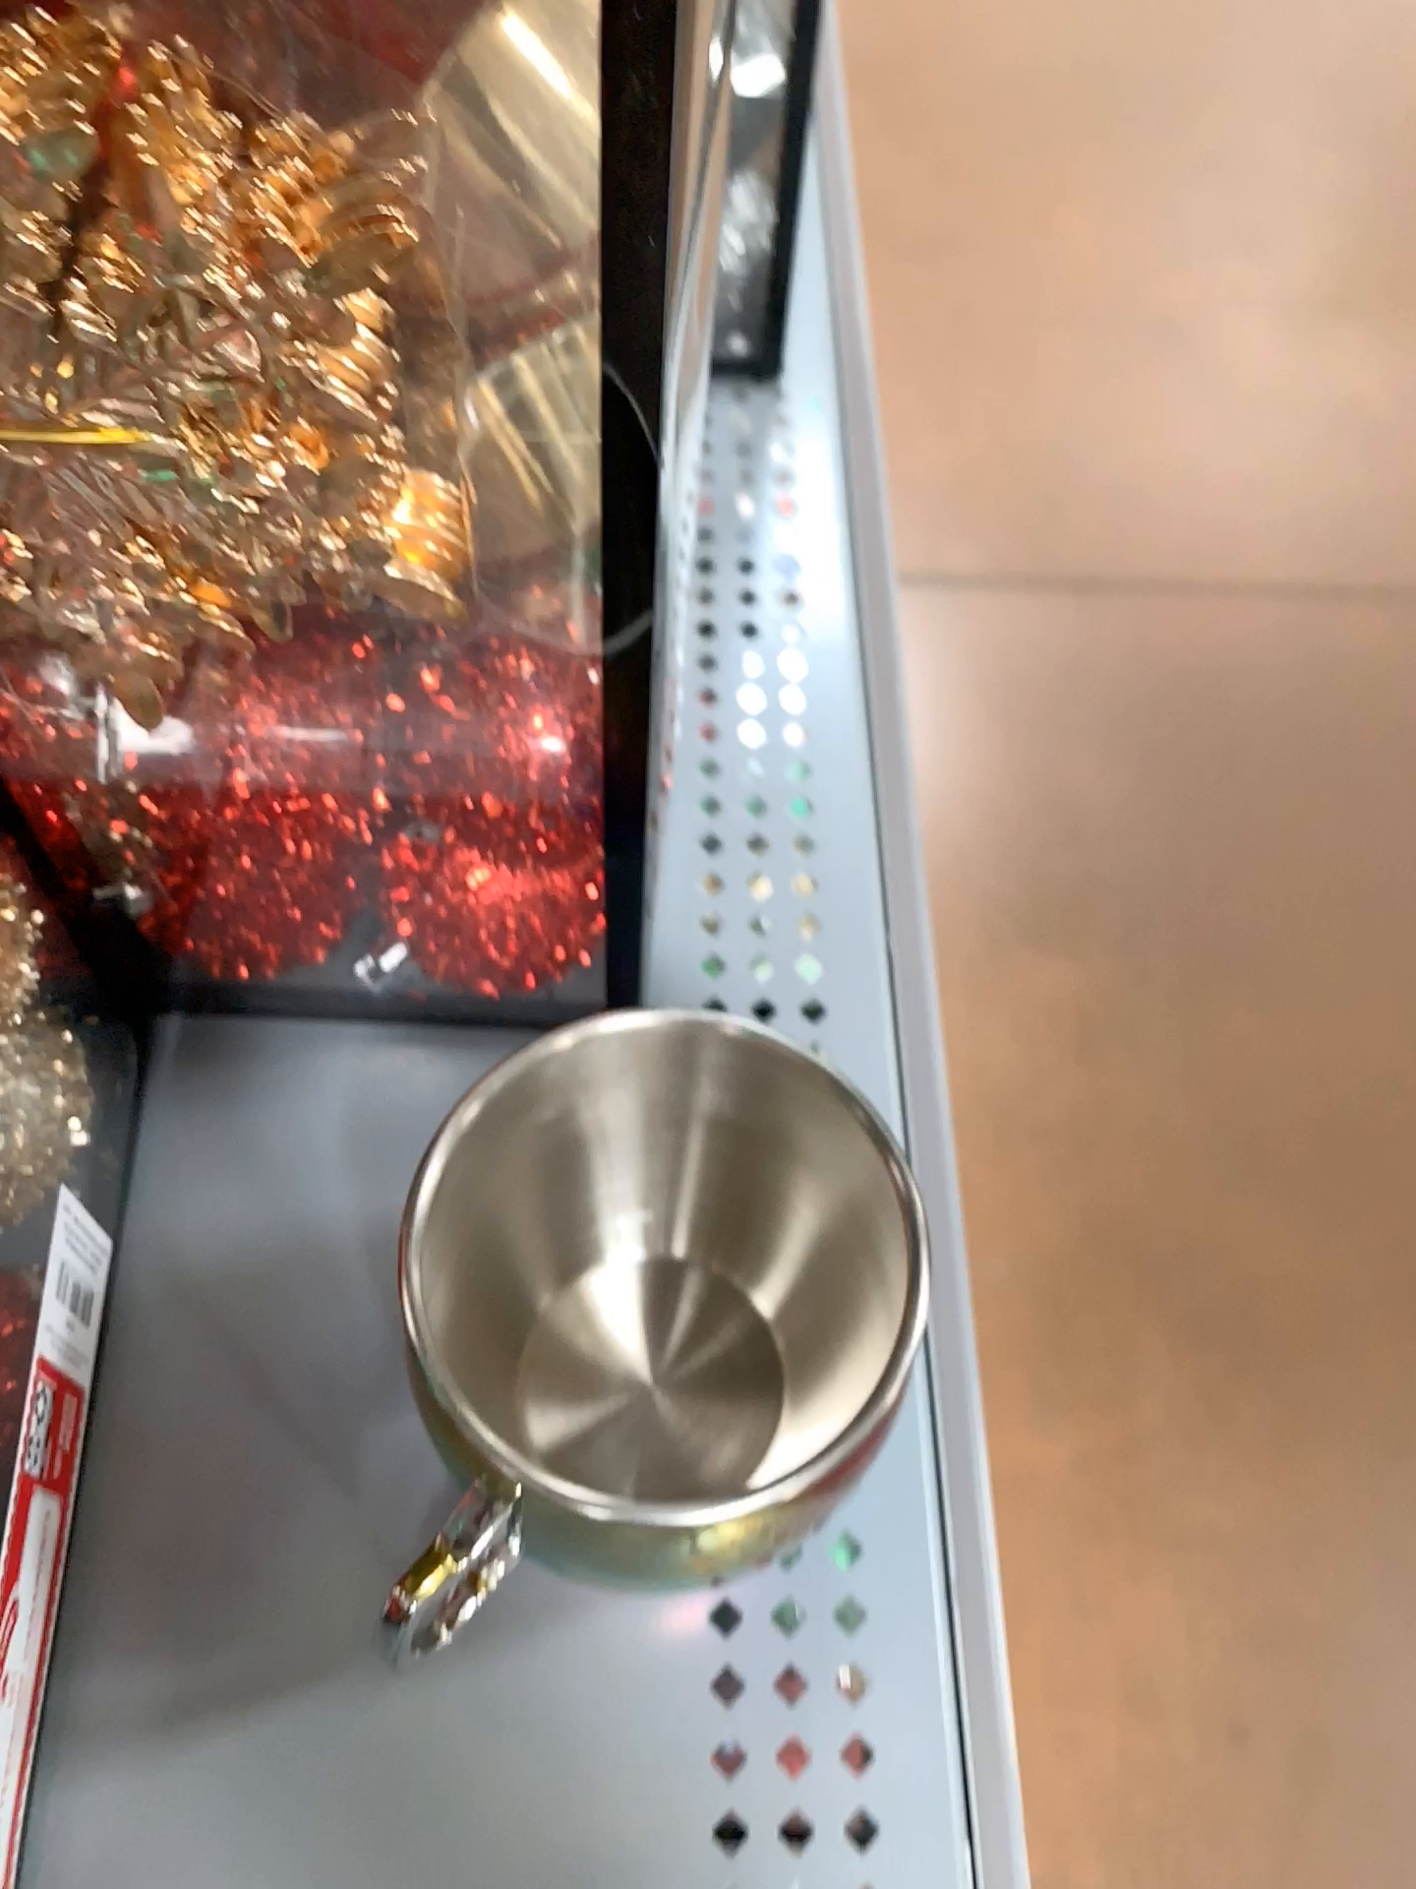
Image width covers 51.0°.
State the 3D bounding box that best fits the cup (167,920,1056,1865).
[{"bbox_3d":[-0.013,0.079,0.262,0.087,0.090,0.110,30,62,13],"label":"cup"}]
